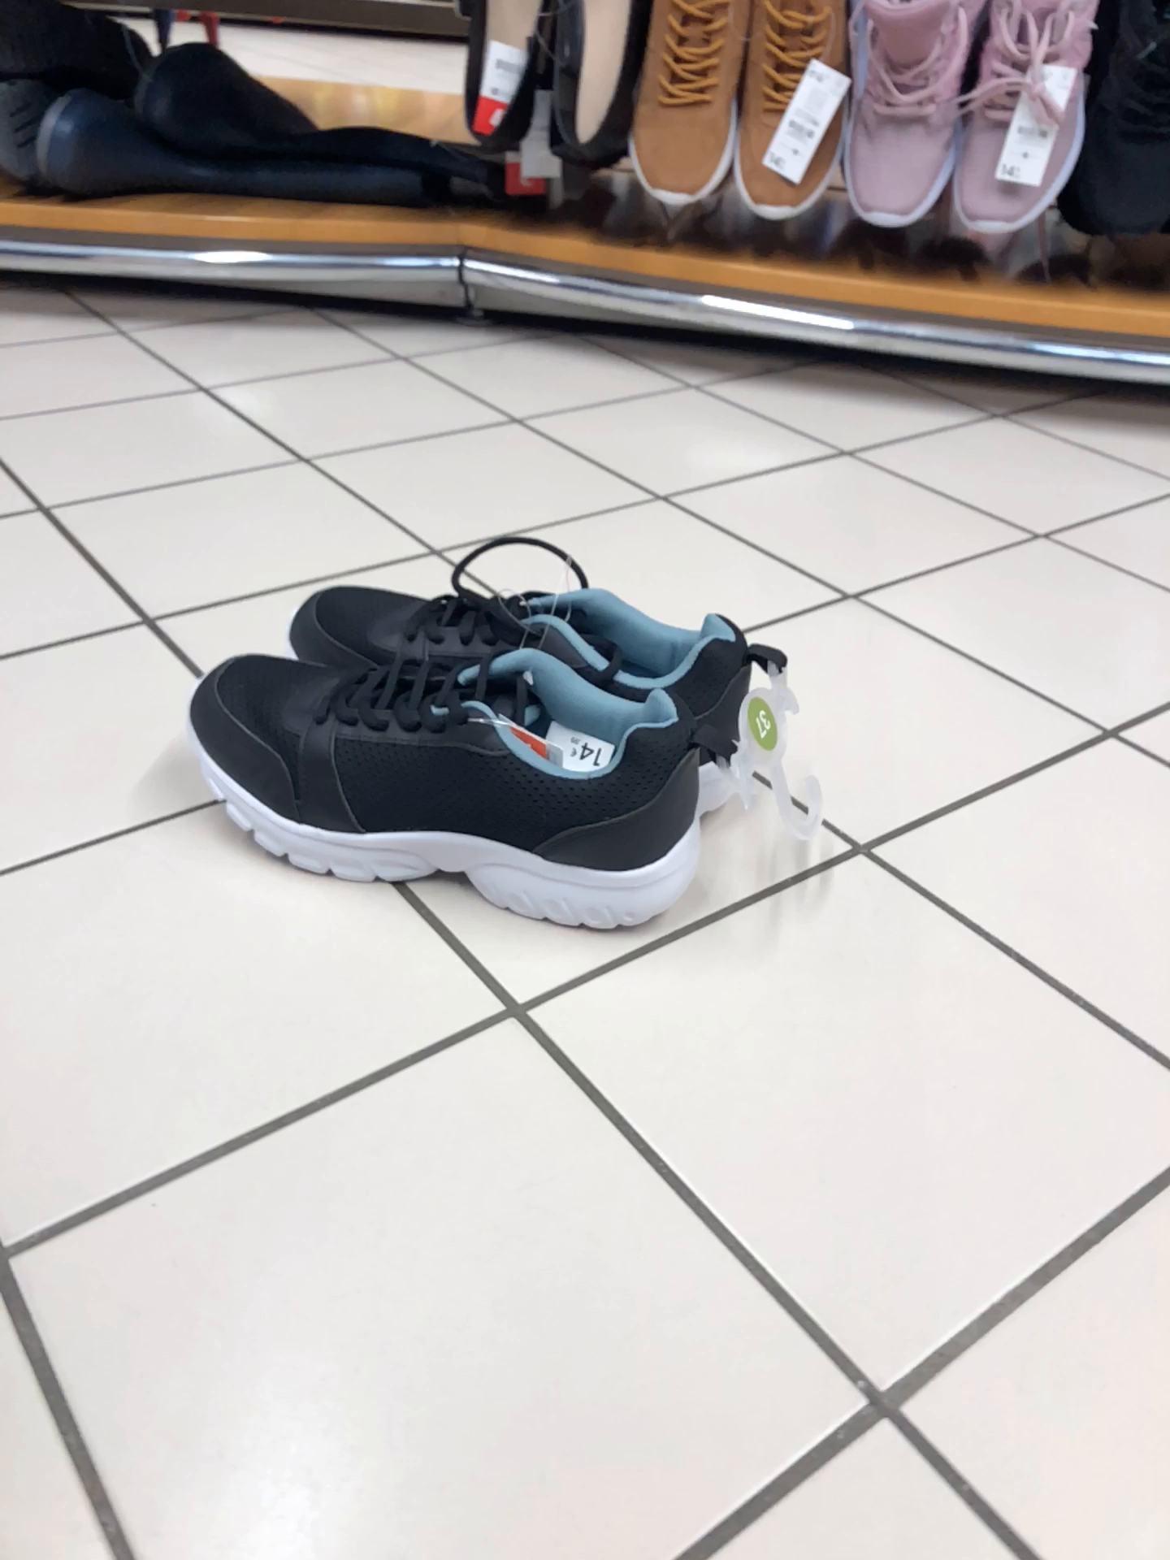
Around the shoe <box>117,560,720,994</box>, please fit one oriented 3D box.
[{"bbox_3d":[-0.073,-0.008,0.588,0.240,0.109,0.101,14,35,15],"label":"shoe"}]

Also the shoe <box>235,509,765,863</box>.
[{"bbox_3d":[-0.043,-0.055,0.658,0.240,0.099,0.101,14,31,15],"label":"shoe"}]
